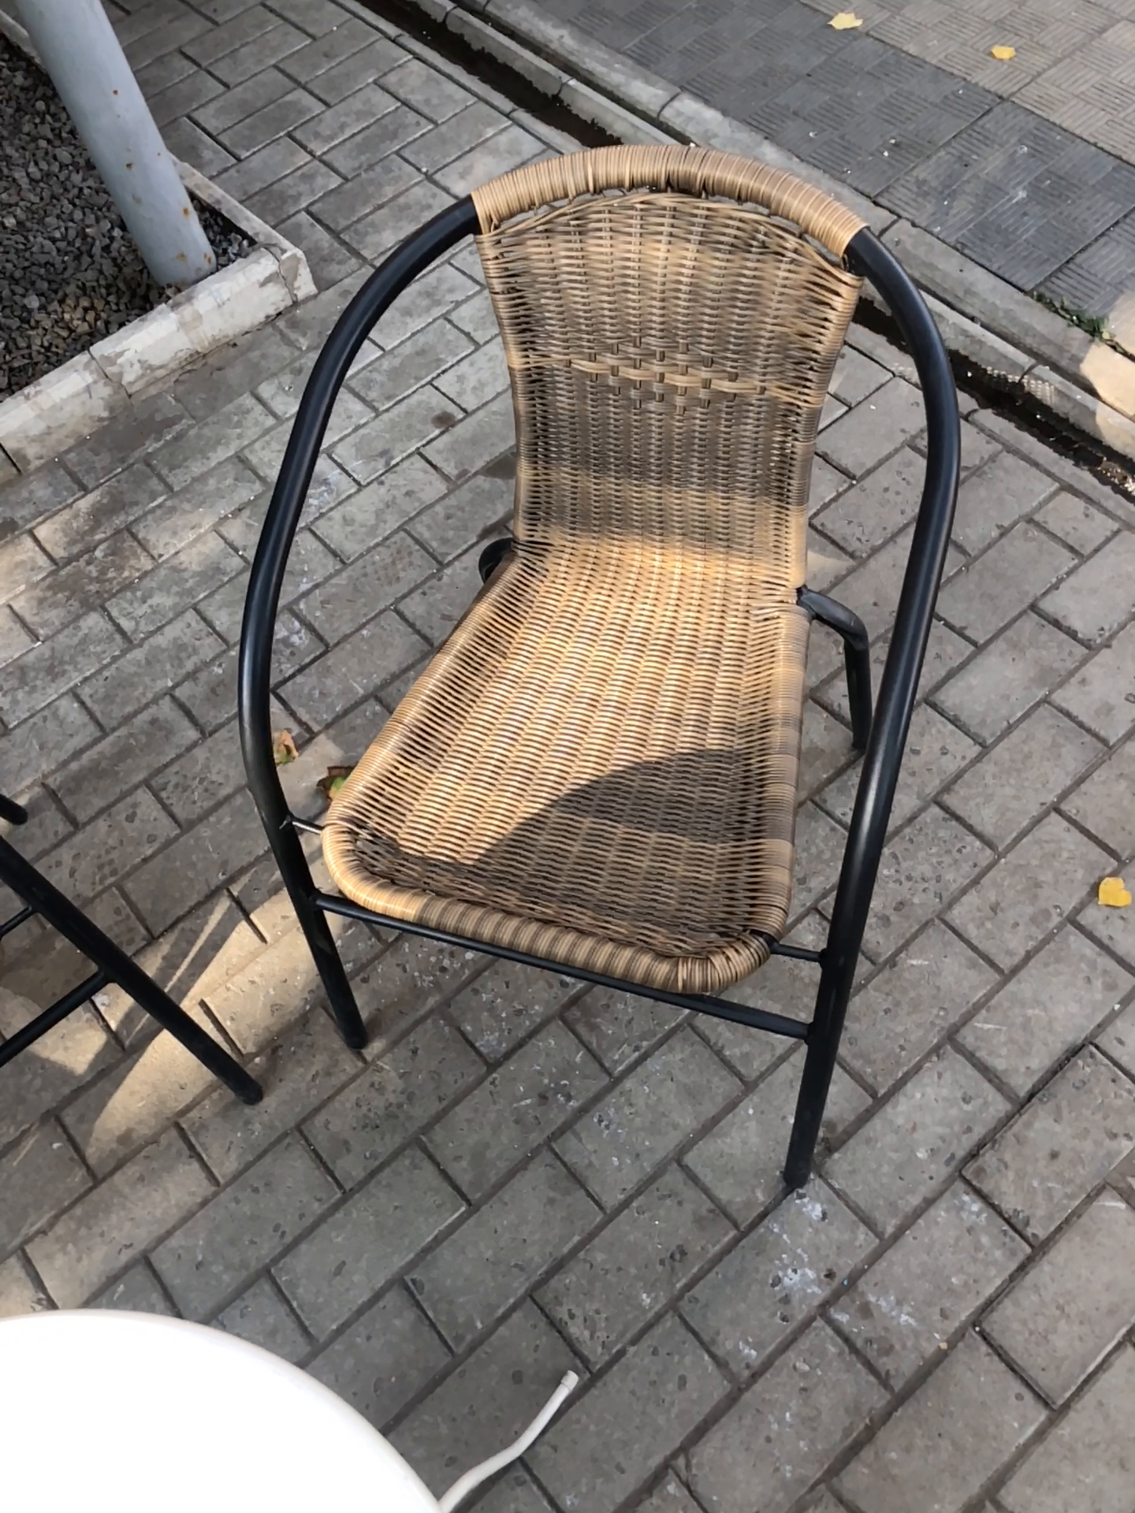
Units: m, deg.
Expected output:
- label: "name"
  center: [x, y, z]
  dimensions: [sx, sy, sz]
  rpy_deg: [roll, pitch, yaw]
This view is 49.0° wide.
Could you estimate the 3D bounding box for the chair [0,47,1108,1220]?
- label: "chair"
  center: [0.037, -0.061, 1.025]
  dimensions: [0.540, 0.669, 0.591]
  rpy_deg: [14, 63, 15]
